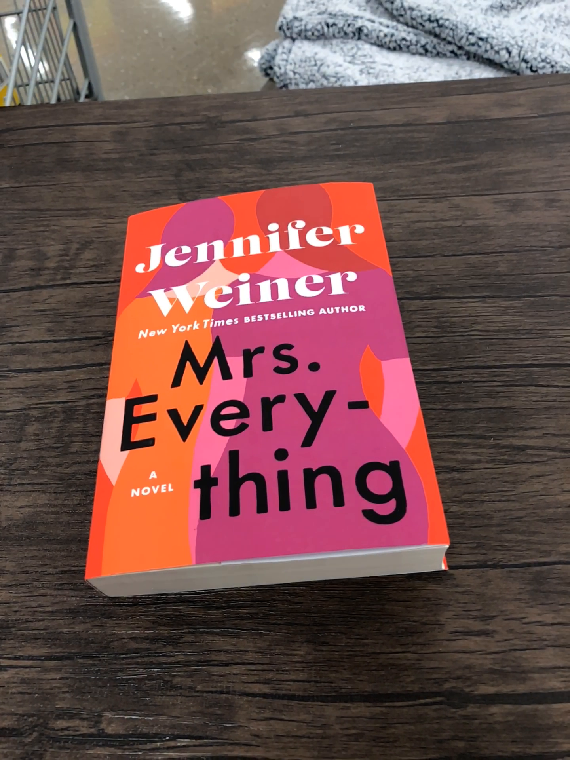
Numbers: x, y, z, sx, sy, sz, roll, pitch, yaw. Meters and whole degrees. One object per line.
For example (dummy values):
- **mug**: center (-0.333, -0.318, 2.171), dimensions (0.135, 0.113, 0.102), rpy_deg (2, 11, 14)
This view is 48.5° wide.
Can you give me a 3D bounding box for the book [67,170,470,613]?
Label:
- **book**: center (-0.013, -0.009, 0.336), dimensions (0.161, 0.046, 0.232), rpy_deg (-6, 56, 2)
